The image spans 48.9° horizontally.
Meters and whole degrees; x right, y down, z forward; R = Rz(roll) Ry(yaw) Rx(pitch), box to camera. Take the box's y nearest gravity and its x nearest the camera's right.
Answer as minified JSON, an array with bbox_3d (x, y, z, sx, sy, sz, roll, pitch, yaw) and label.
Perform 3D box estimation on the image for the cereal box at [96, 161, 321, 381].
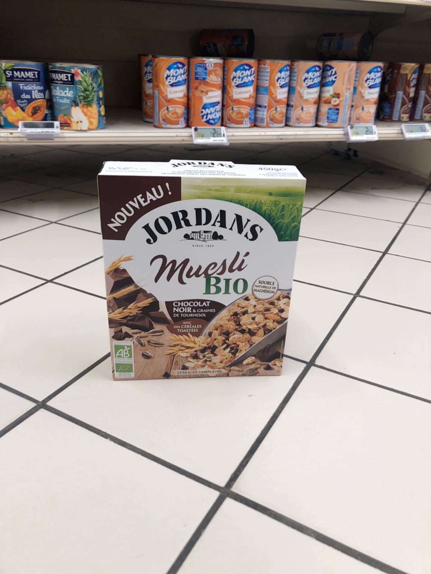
[{"bbox_3d":[-0.010,-0.011,0.466,0.190,0.209,0.050,0,26,-5],"label":"cereal box"}]
